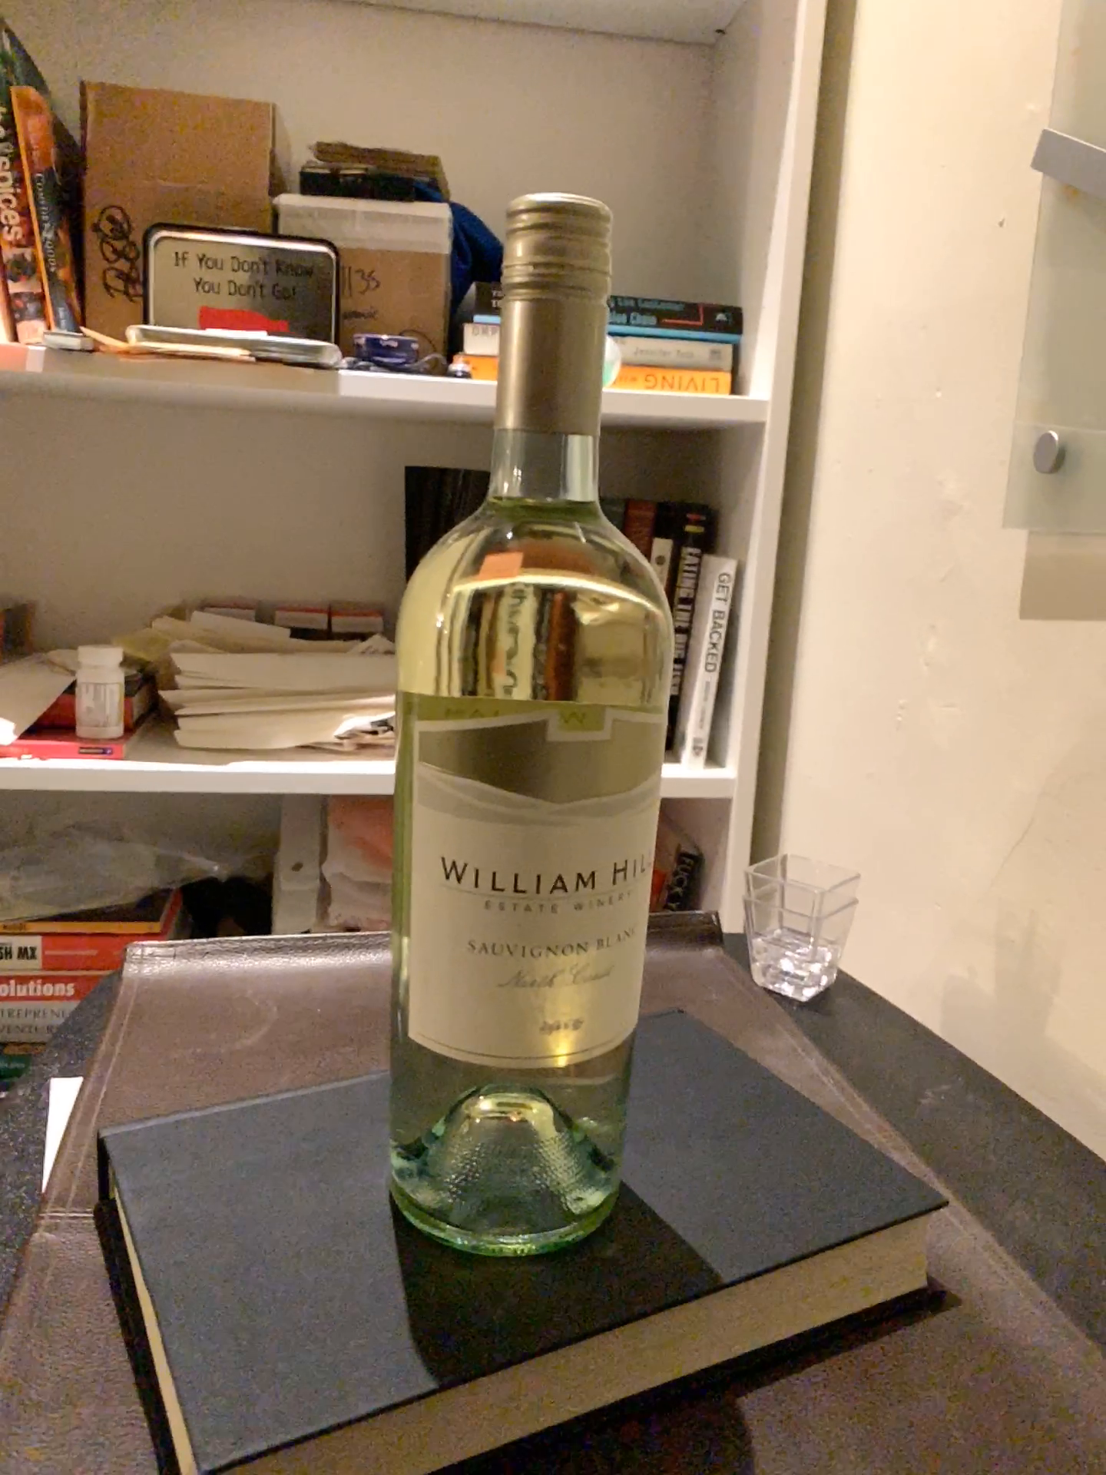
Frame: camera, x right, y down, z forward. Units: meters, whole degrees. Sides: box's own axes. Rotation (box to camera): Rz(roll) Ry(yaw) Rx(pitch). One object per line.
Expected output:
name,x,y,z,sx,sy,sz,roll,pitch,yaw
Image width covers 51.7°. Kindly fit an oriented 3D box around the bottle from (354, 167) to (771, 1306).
bottle,-0.008,0.004,0.349,0.090,0.299,0.090,3,11,-1
